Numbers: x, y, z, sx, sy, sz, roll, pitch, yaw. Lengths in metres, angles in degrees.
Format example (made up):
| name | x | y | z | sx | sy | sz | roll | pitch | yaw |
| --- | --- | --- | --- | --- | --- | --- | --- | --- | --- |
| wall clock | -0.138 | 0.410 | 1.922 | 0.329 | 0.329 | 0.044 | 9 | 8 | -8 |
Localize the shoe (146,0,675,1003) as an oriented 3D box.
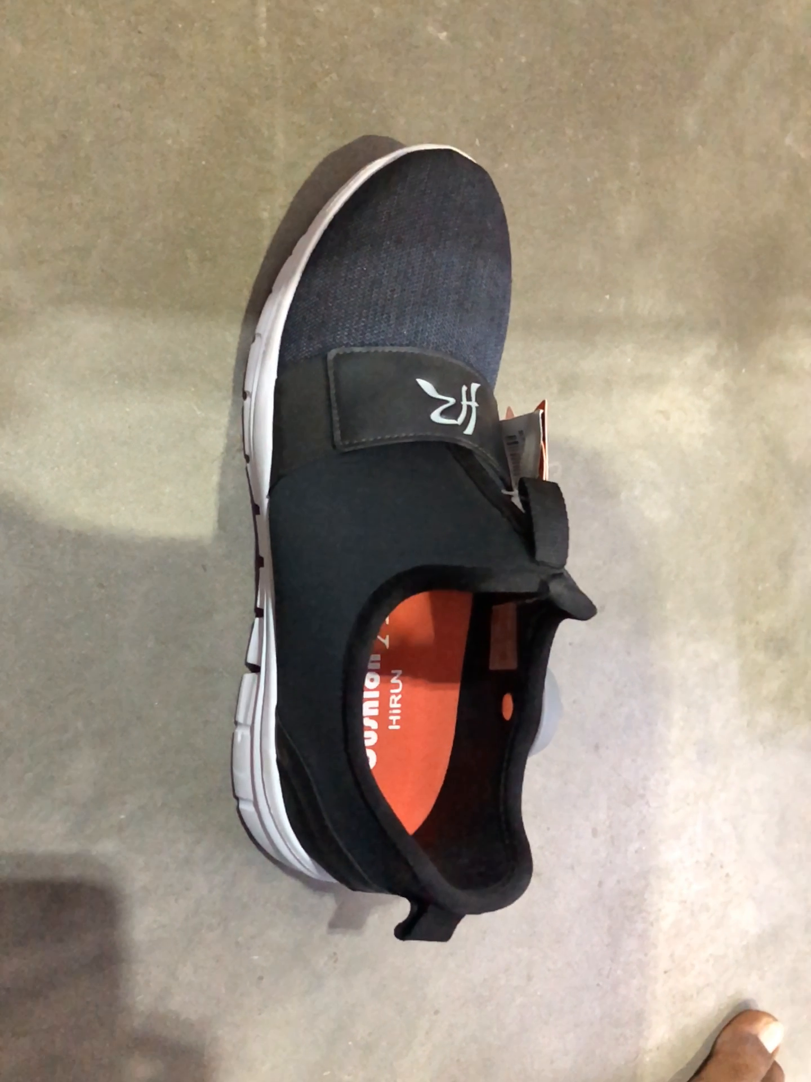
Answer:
| name | x | y | z | sx | sy | sz | roll | pitch | yaw |
| --- | --- | --- | --- | --- | --- | --- | --- | --- | --- |
| shoe | -0.006 | -0.014 | 0.310 | 0.100 | 0.130 | 0.270 | 8 | 87 | -30 |
